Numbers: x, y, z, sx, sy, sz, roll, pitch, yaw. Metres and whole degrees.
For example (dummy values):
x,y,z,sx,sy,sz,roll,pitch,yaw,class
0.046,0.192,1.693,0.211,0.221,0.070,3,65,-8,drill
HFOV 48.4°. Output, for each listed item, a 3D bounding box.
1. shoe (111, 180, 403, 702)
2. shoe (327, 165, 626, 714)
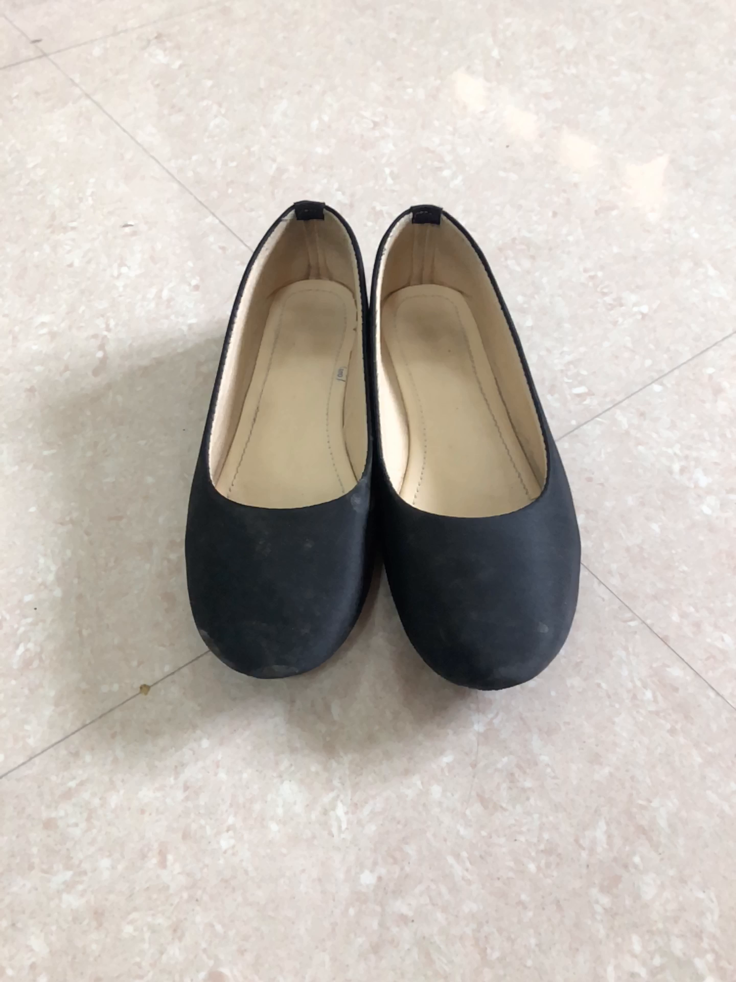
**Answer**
x,y,z,sx,sy,sz,roll,pitch,yaw,class
-0.034,-0.038,0.371,0.090,0.060,0.251,2,55,4,shoe
0.032,-0.038,0.357,0.090,0.060,0.251,-3,55,0,shoe
